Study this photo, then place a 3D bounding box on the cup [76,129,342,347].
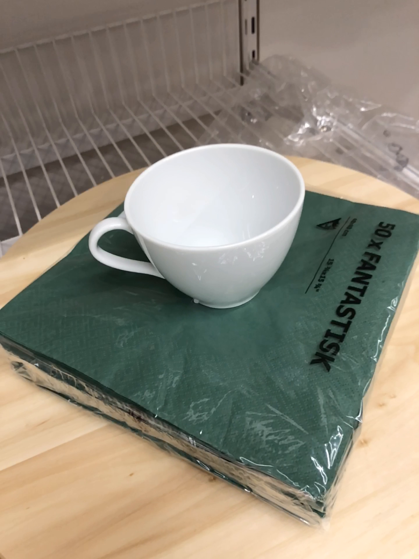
[{"bbox_3d":[-0.005,-0.028,0.261,0.120,0.050,0.090,-14,46,-7],"label":"cup"}]
